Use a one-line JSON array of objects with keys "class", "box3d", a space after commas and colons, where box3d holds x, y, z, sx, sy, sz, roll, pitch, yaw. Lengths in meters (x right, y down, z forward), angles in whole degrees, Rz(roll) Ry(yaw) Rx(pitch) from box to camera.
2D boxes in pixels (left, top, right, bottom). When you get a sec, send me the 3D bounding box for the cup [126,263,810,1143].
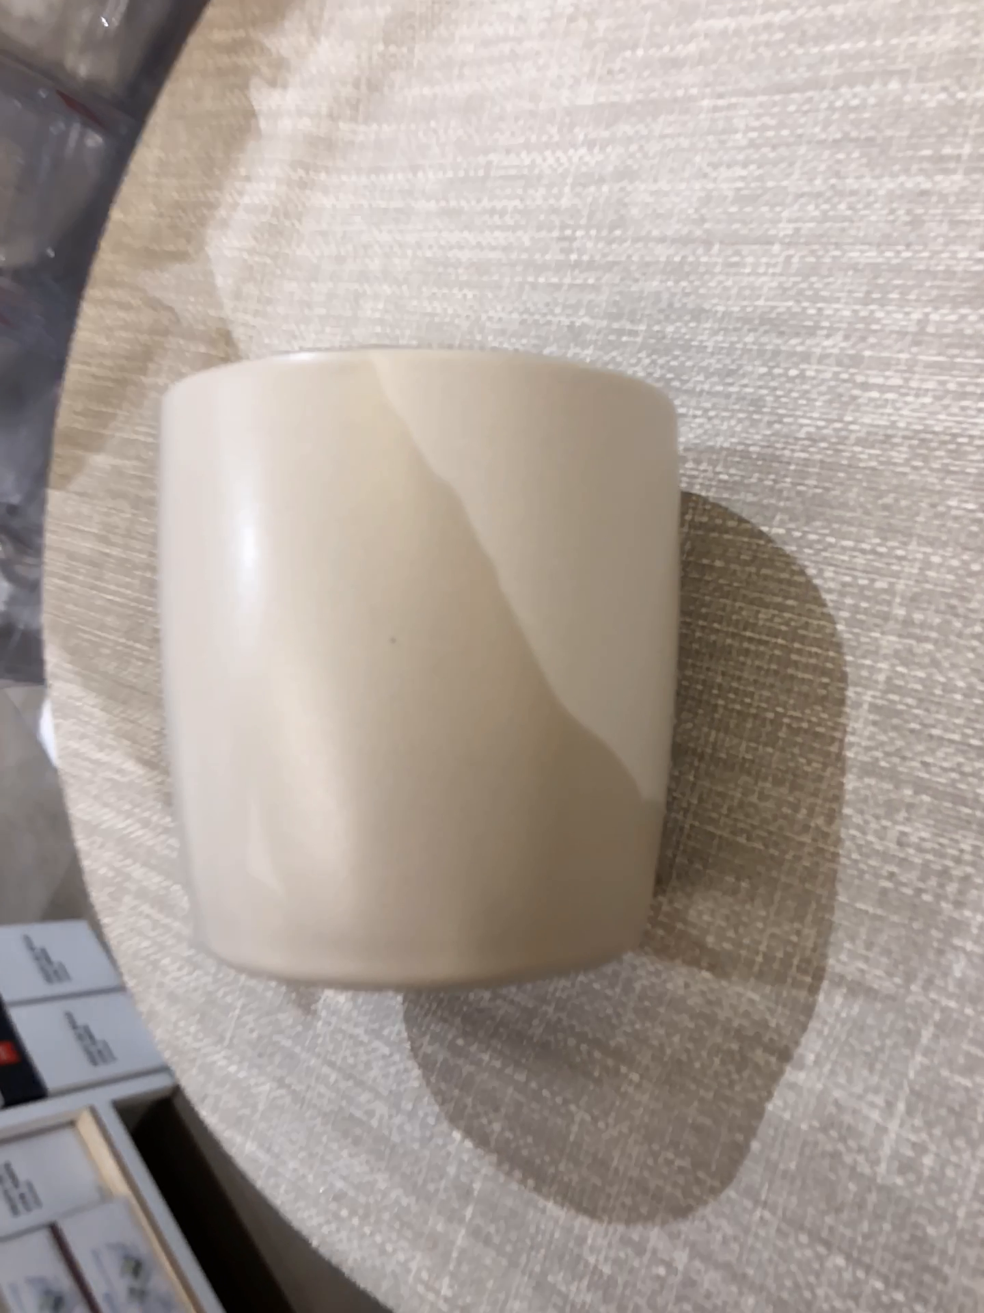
[{"class": "cup", "box3d": [-0.015, 0.006, 0.172, 0.100, 0.080, 0.090, 172, 98, -72]}]
